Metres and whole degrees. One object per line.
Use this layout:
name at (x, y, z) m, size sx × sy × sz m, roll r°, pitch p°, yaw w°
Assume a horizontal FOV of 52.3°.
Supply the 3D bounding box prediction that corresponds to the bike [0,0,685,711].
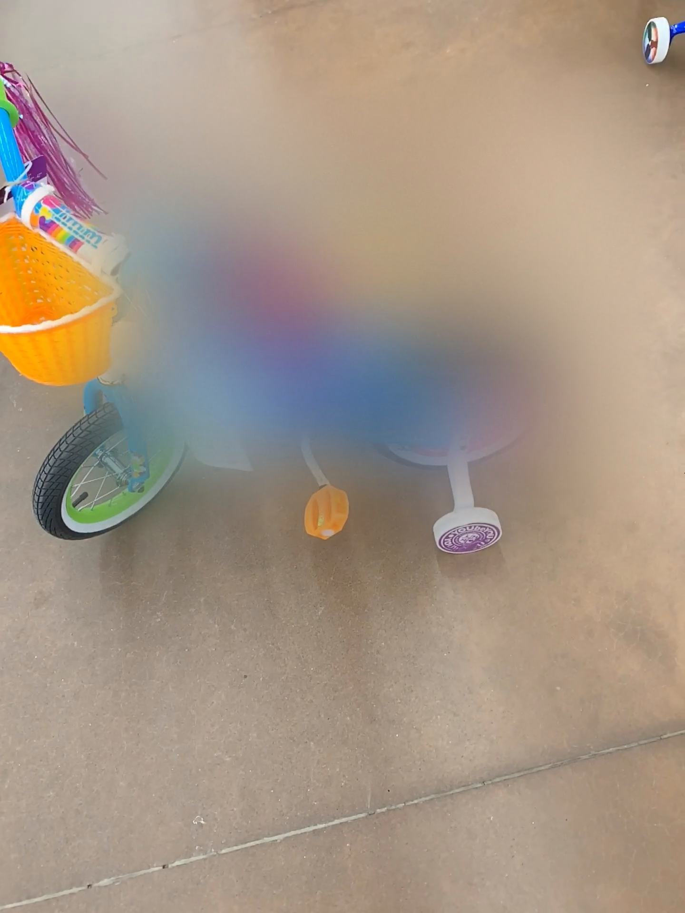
bike at (-0.107, -0.104, 0.984) m, size 0.833 × 0.667 × 0.522 m, roll -13°, pitch 54°, yaw 3°
